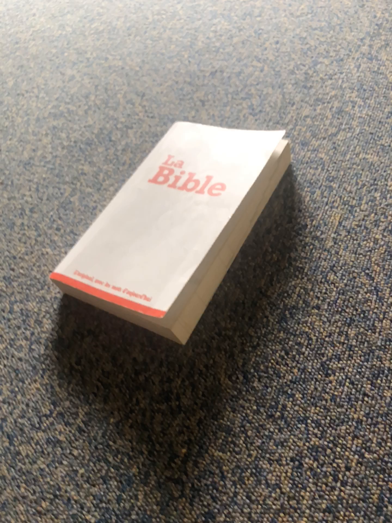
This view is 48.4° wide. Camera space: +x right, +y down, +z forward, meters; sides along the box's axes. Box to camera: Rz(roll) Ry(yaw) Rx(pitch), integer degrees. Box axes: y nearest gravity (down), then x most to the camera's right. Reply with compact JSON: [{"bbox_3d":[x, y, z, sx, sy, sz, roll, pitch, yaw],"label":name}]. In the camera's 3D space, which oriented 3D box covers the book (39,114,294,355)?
[{"bbox_3d":[-0.018,-0.041,0.389,0.133,0.042,0.211,17,61,28],"label":"book"}]
